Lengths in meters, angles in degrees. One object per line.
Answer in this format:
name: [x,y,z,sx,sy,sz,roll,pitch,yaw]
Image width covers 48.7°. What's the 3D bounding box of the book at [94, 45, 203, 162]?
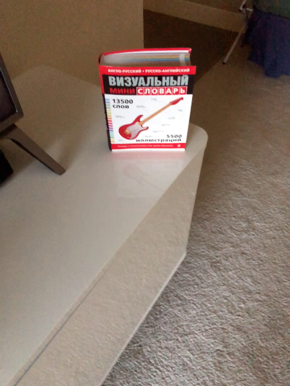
book: [0.003,-0.139,0.527,0.150,0.179,0.060,-1,49,-1]
